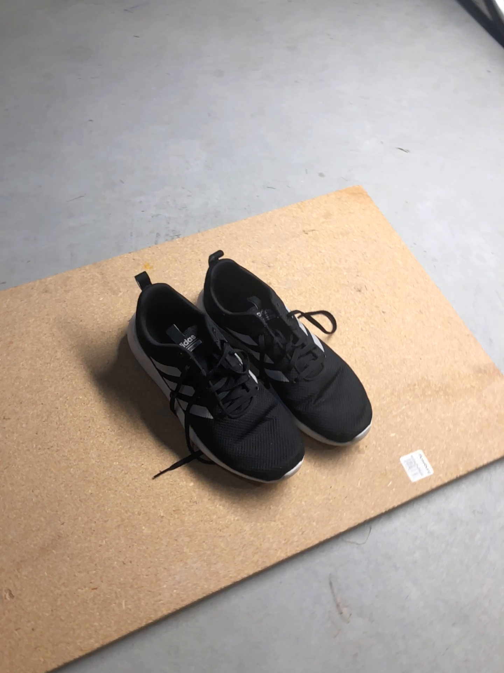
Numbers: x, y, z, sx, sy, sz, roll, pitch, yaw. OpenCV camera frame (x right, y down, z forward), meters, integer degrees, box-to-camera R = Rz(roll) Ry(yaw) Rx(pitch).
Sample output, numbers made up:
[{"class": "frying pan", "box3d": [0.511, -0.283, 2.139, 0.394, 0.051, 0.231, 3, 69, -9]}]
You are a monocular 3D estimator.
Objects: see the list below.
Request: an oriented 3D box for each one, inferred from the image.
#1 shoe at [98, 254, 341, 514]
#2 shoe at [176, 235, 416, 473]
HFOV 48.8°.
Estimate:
[{"class": "shoe", "box3d": [-0.049, 0.046, 0.664, 0.110, 0.090, 0.300, -33, 65, -29]}, {"class": "shoe", "box3d": [0.042, 0.013, 0.706, 0.110, 0.090, 0.300, -34, 66, -29]}]
